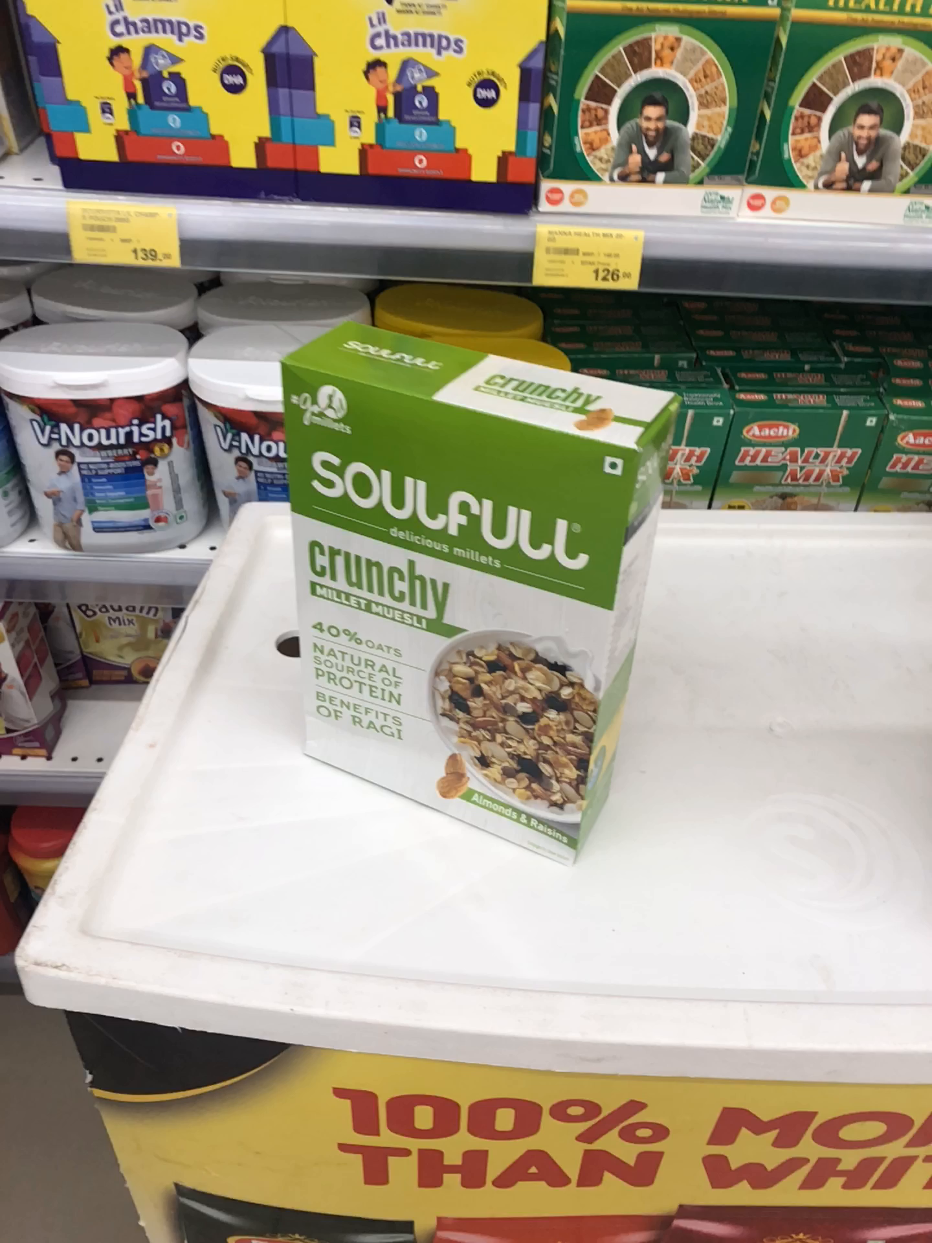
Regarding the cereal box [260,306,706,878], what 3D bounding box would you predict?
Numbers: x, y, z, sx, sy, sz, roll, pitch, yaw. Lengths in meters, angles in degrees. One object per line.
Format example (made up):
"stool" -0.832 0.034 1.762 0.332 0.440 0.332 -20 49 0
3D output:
"cereal box" 0.006 -0.010 0.521 0.180 0.249 0.070 18 42 22
